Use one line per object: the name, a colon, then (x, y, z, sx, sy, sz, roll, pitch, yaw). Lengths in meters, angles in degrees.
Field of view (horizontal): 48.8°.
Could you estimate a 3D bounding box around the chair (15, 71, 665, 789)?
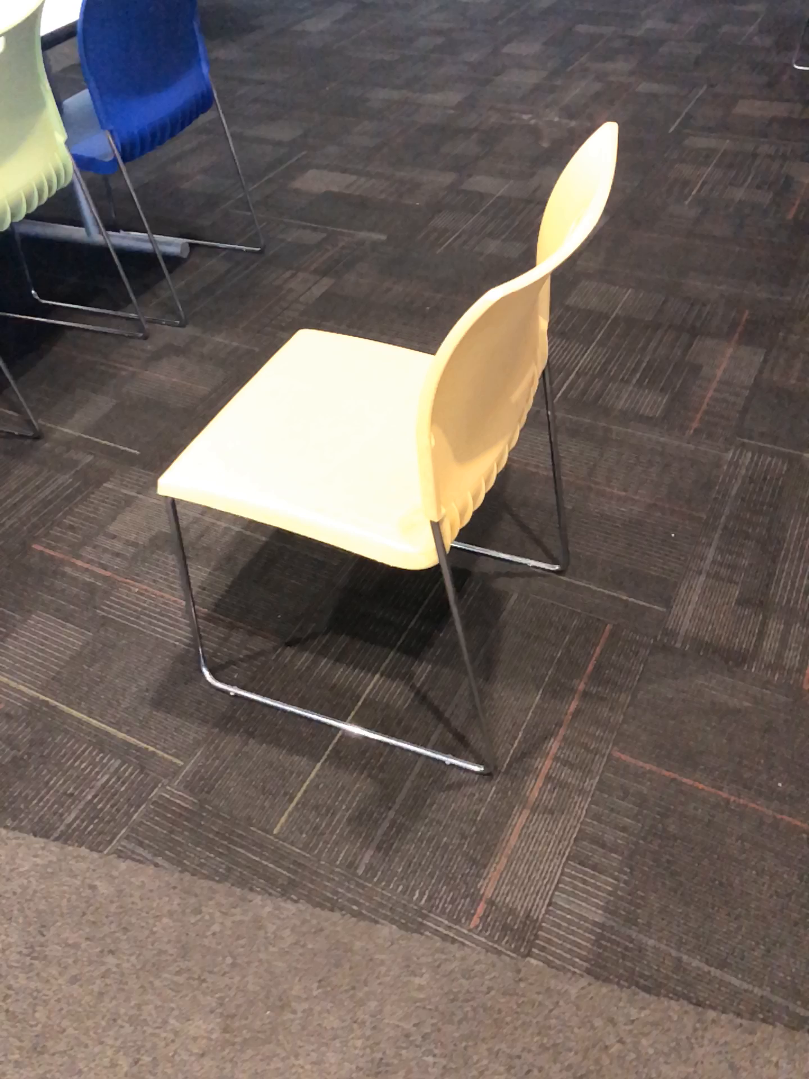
chair: (-0.018, -0.171, 1.275, 0.561, 0.736, 0.572, 14, 45, 19)
